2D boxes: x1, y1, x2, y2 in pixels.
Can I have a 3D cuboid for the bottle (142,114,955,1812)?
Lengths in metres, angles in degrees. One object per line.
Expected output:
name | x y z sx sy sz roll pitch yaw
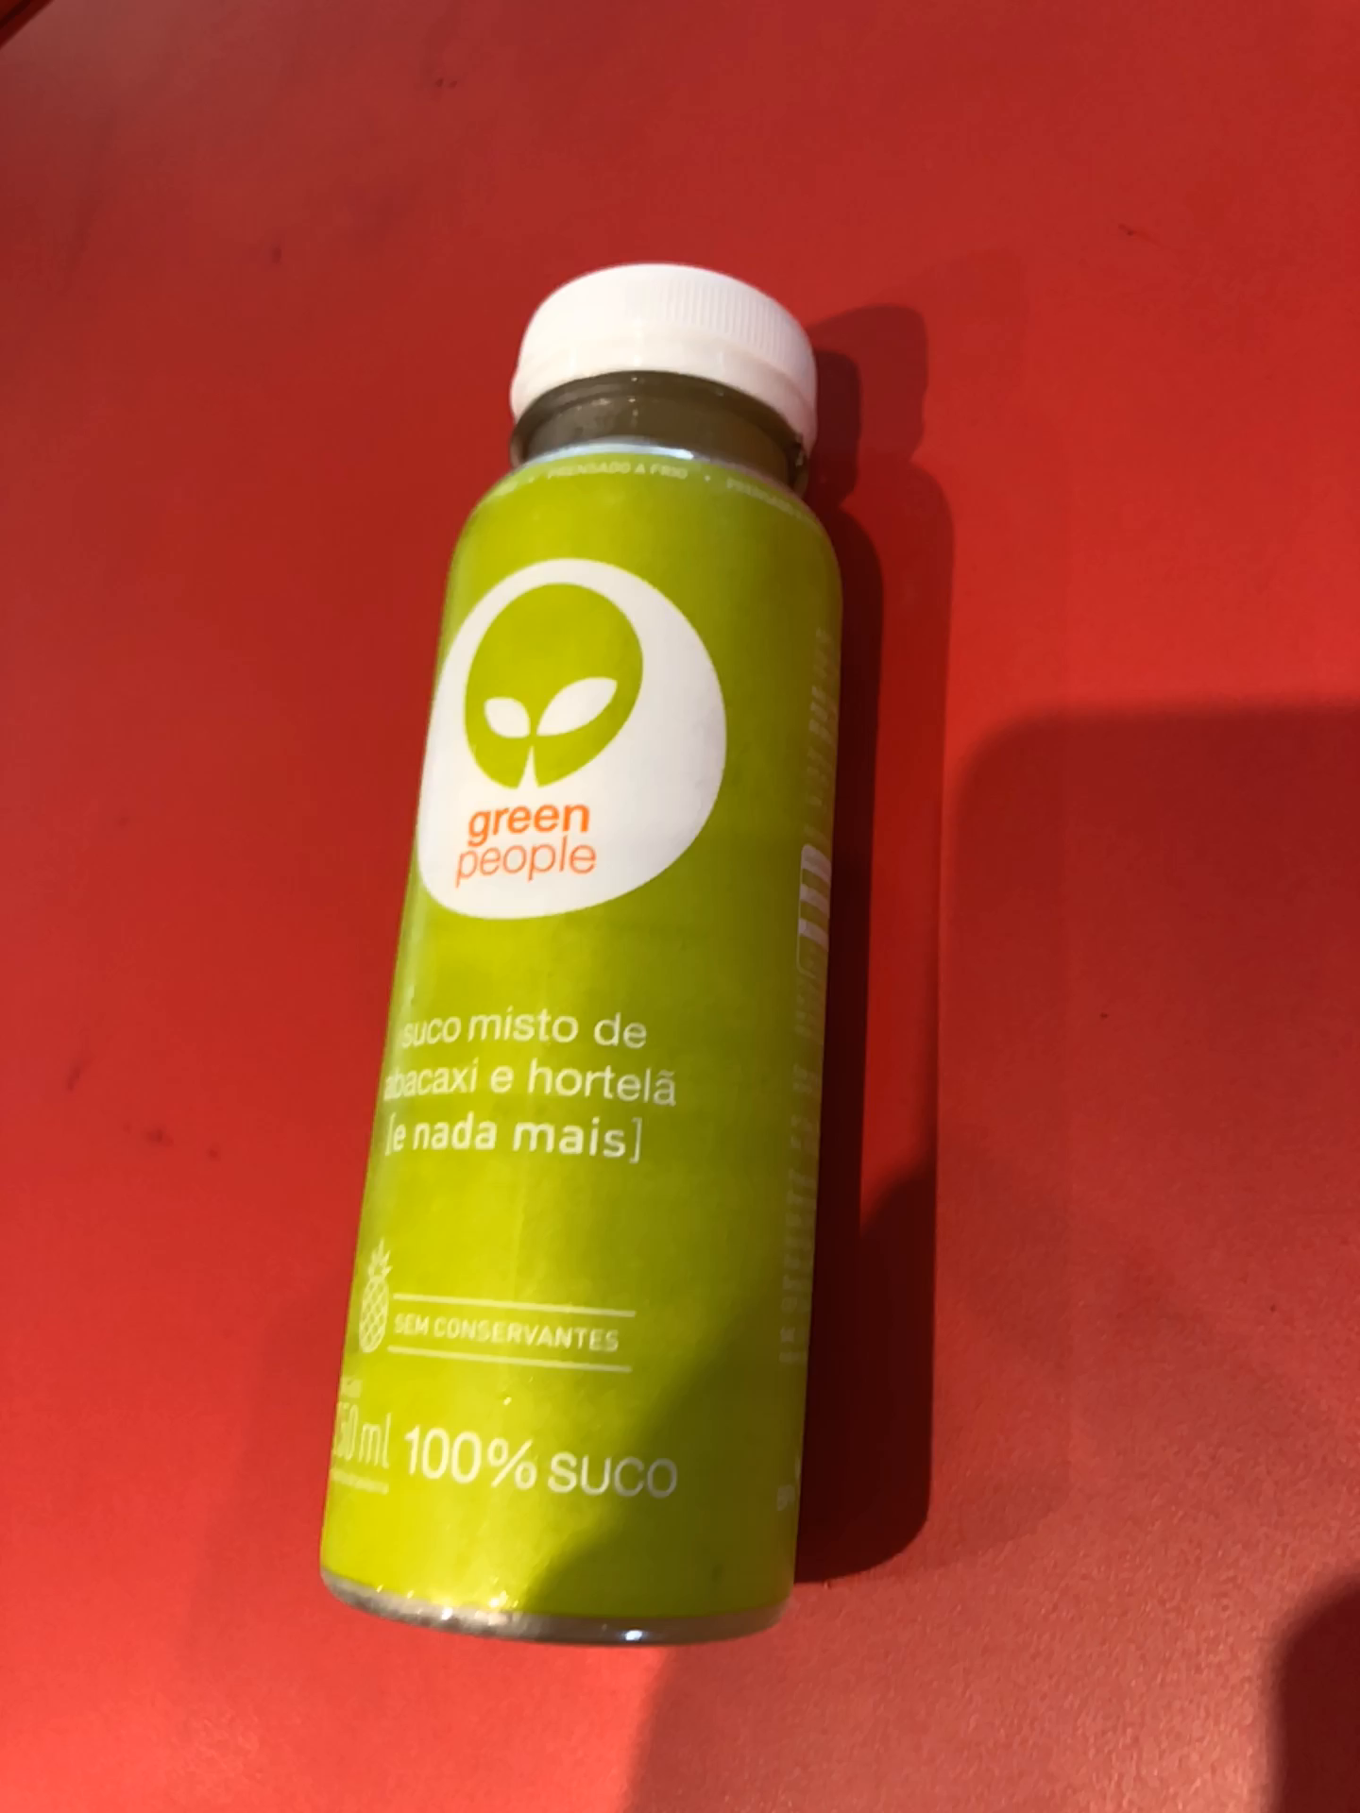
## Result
bottle | -0.009 0.008 0.176 0.060 0.050 0.170 1 80 25
